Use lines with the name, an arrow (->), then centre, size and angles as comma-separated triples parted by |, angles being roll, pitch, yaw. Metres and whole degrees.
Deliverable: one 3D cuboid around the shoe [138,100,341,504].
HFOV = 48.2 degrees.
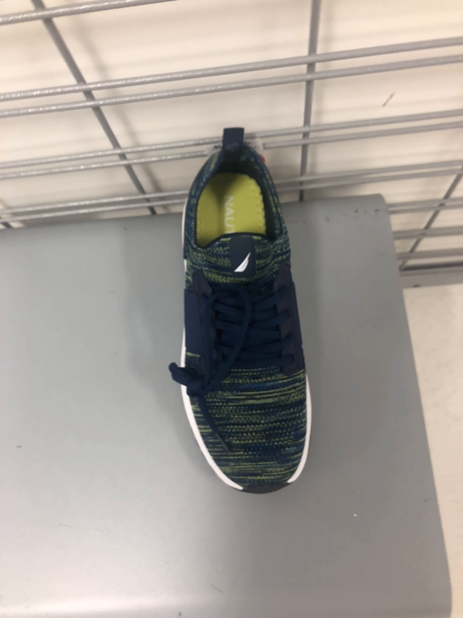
shoe -> 0.001, -0.005, 0.403 | 0.113, 0.105, 0.276 | -6, 74, 2
